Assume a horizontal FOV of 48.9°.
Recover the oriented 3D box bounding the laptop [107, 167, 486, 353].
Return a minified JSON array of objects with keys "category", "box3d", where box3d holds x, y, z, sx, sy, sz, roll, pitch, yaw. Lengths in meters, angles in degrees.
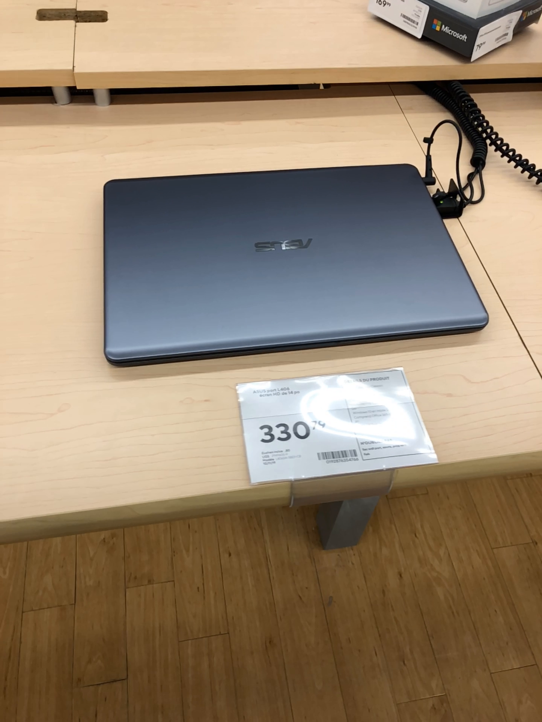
[{"category":"laptop","box3d":[0.012,-0.107,0.554,0.318,0.001,0.211,-6,55,-8]}]
